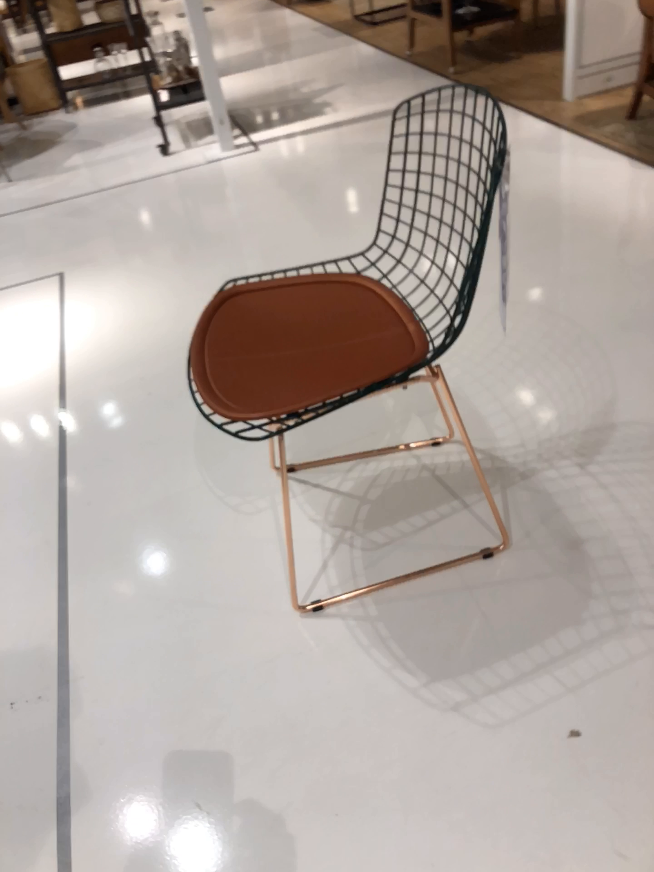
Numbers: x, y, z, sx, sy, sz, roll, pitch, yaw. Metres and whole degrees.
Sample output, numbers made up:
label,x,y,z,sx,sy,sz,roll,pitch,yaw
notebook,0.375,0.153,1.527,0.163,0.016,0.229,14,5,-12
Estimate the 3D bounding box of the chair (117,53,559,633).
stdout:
label,x,y,z,sx,sy,sz,roll,pitch,yaw
chair,0.040,-0.148,1.213,0.500,0.724,0.494,-13,37,-1
